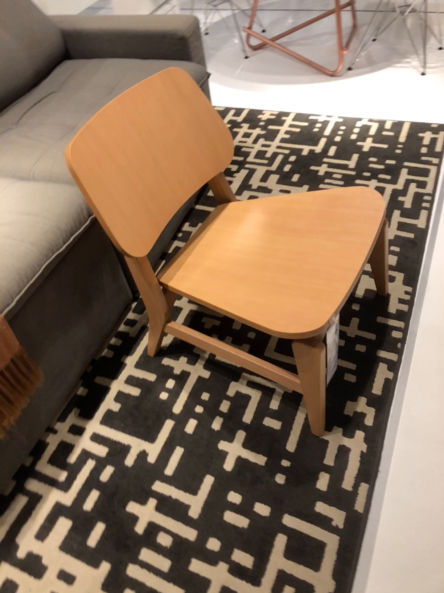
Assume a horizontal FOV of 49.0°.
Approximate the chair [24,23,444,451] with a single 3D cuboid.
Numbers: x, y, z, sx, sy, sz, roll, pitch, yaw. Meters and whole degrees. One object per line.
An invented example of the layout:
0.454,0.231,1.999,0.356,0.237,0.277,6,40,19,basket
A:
0.111,-0.179,1.168,0.651,0.625,0.643,18,53,24,chair
